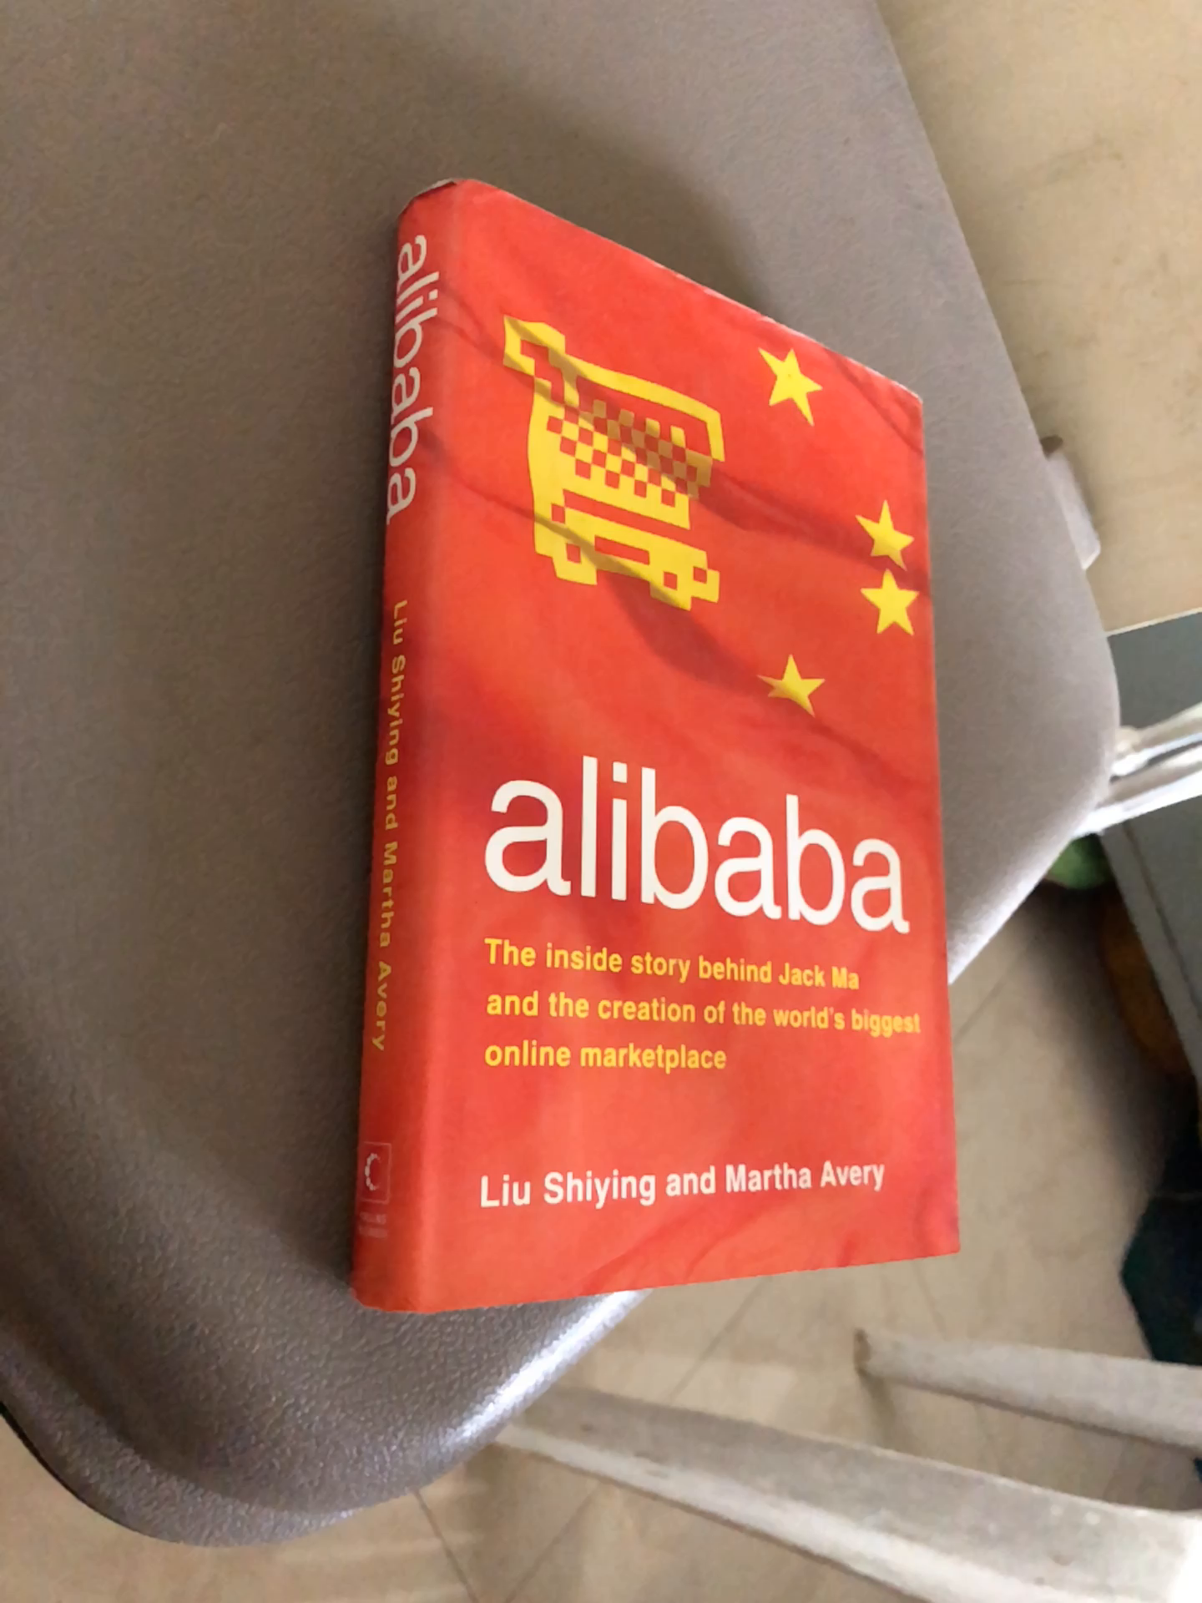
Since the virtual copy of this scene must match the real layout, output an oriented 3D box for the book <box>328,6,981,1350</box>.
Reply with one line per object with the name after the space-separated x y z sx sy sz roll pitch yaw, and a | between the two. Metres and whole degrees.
0.018 -0.023 0.317 0.161 0.040 0.260 9 74 -42 | book
